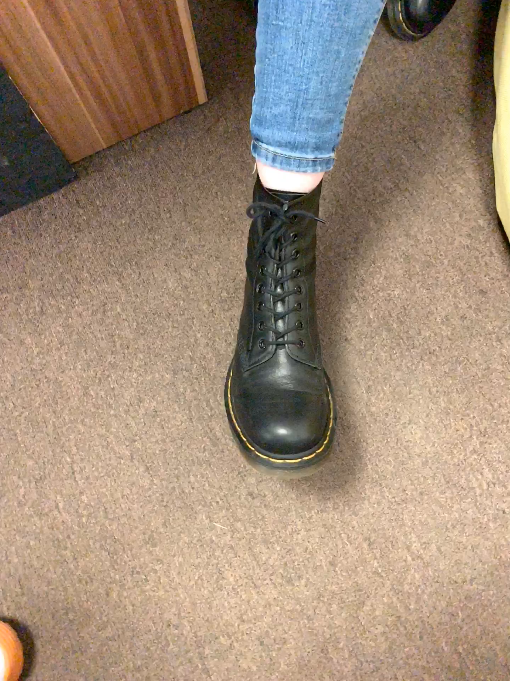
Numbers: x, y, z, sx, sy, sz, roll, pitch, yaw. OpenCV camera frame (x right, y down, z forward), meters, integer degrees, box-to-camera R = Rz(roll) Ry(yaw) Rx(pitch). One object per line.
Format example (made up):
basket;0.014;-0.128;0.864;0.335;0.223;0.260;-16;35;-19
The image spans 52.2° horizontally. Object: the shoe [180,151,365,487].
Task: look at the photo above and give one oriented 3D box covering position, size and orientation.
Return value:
shoe;0.022;-0.035;0.491;0.120;0.150;0.290;2;47;4
